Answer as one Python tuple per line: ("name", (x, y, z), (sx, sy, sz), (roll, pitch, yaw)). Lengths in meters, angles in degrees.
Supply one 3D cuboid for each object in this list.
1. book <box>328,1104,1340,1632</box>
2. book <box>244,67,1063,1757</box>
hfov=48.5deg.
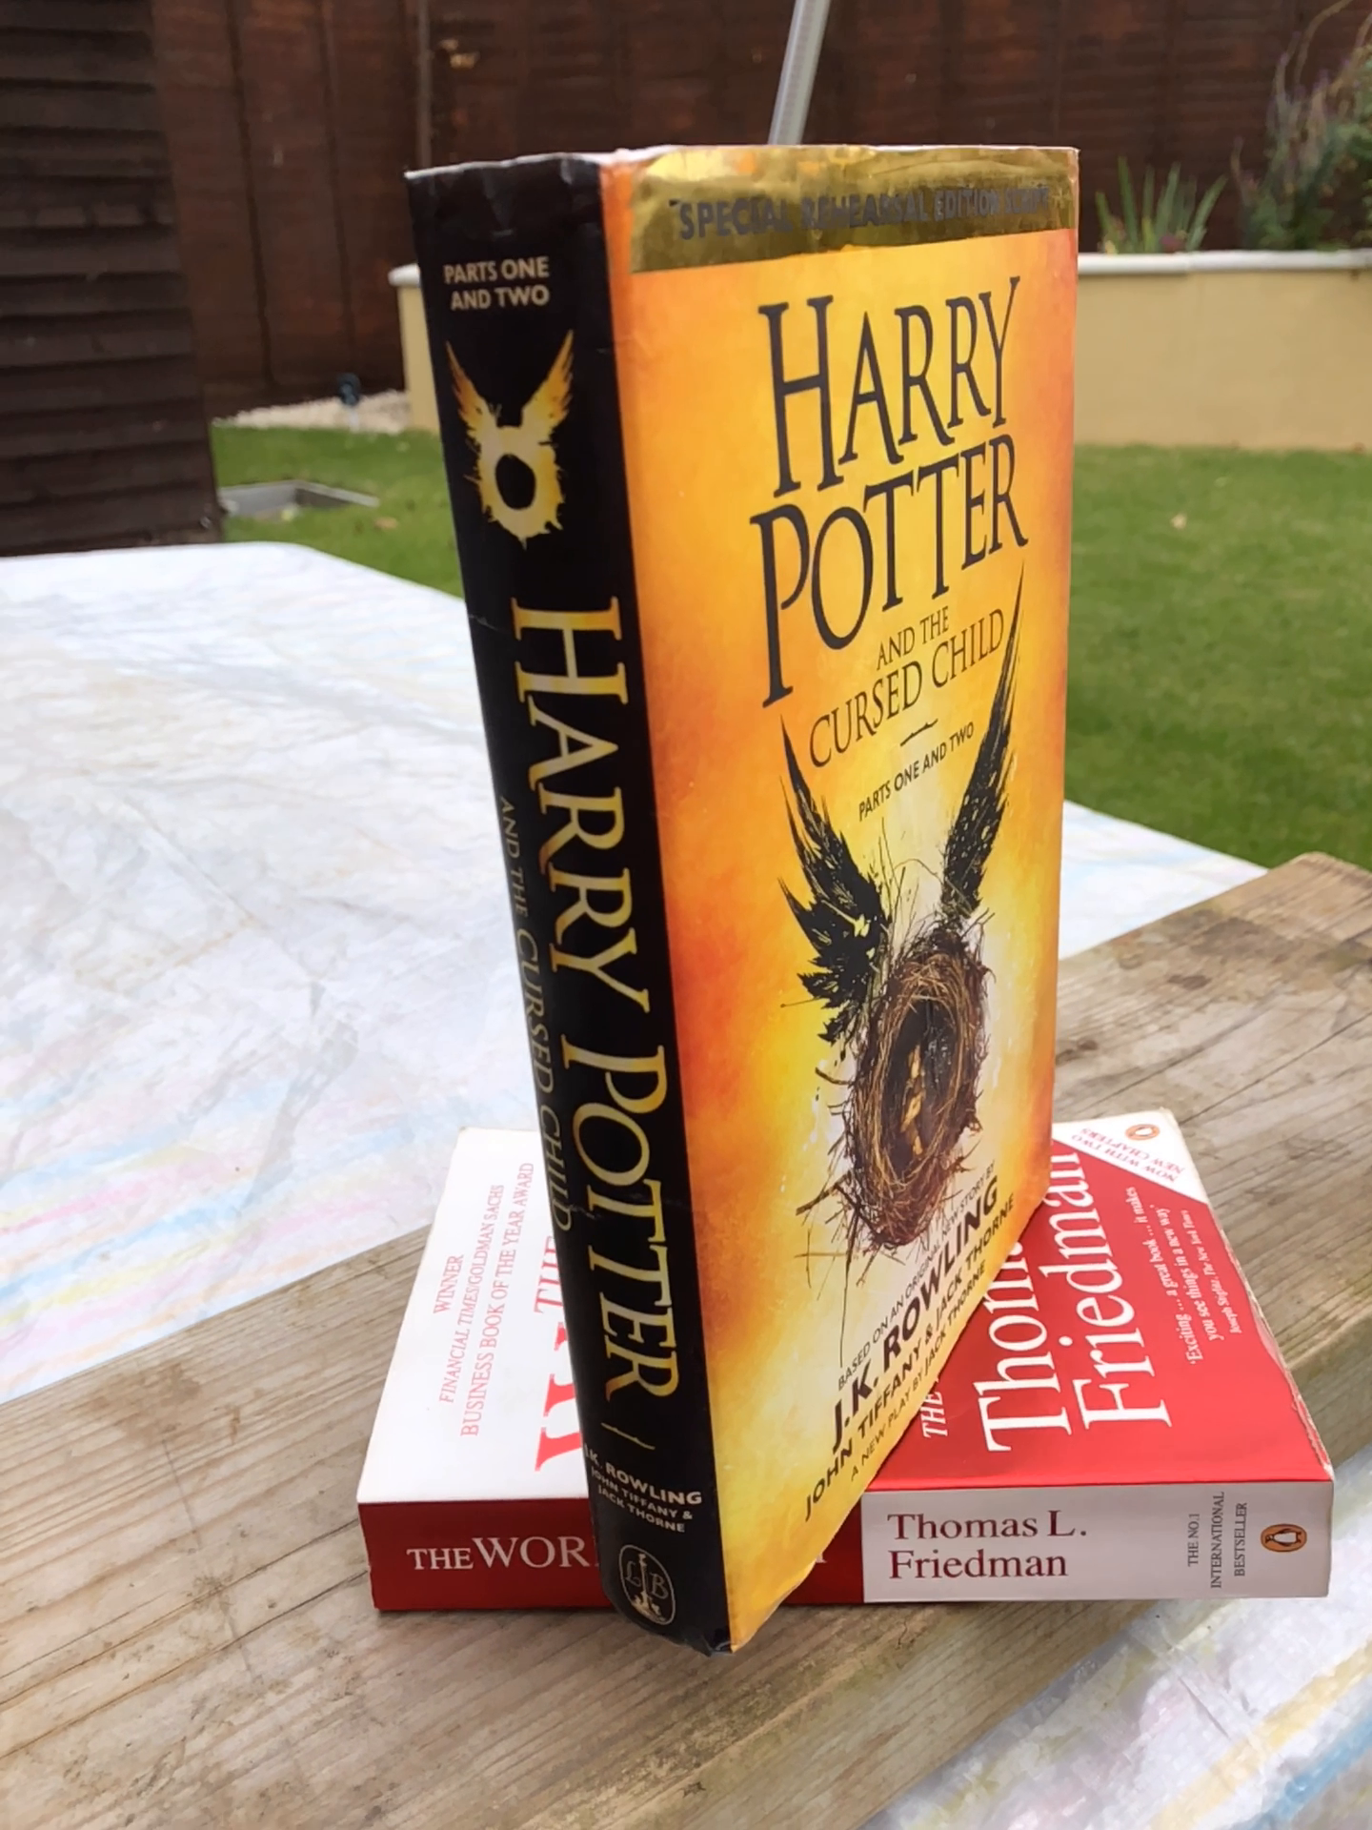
("book", (0.030, 0.097, 0.354), (0.190, 0.040, 0.131), (-2, 24, 3))
("book", (0.020, -0.010, 0.277), (0.040, 0.239, 0.171), (8, 24, 32))
